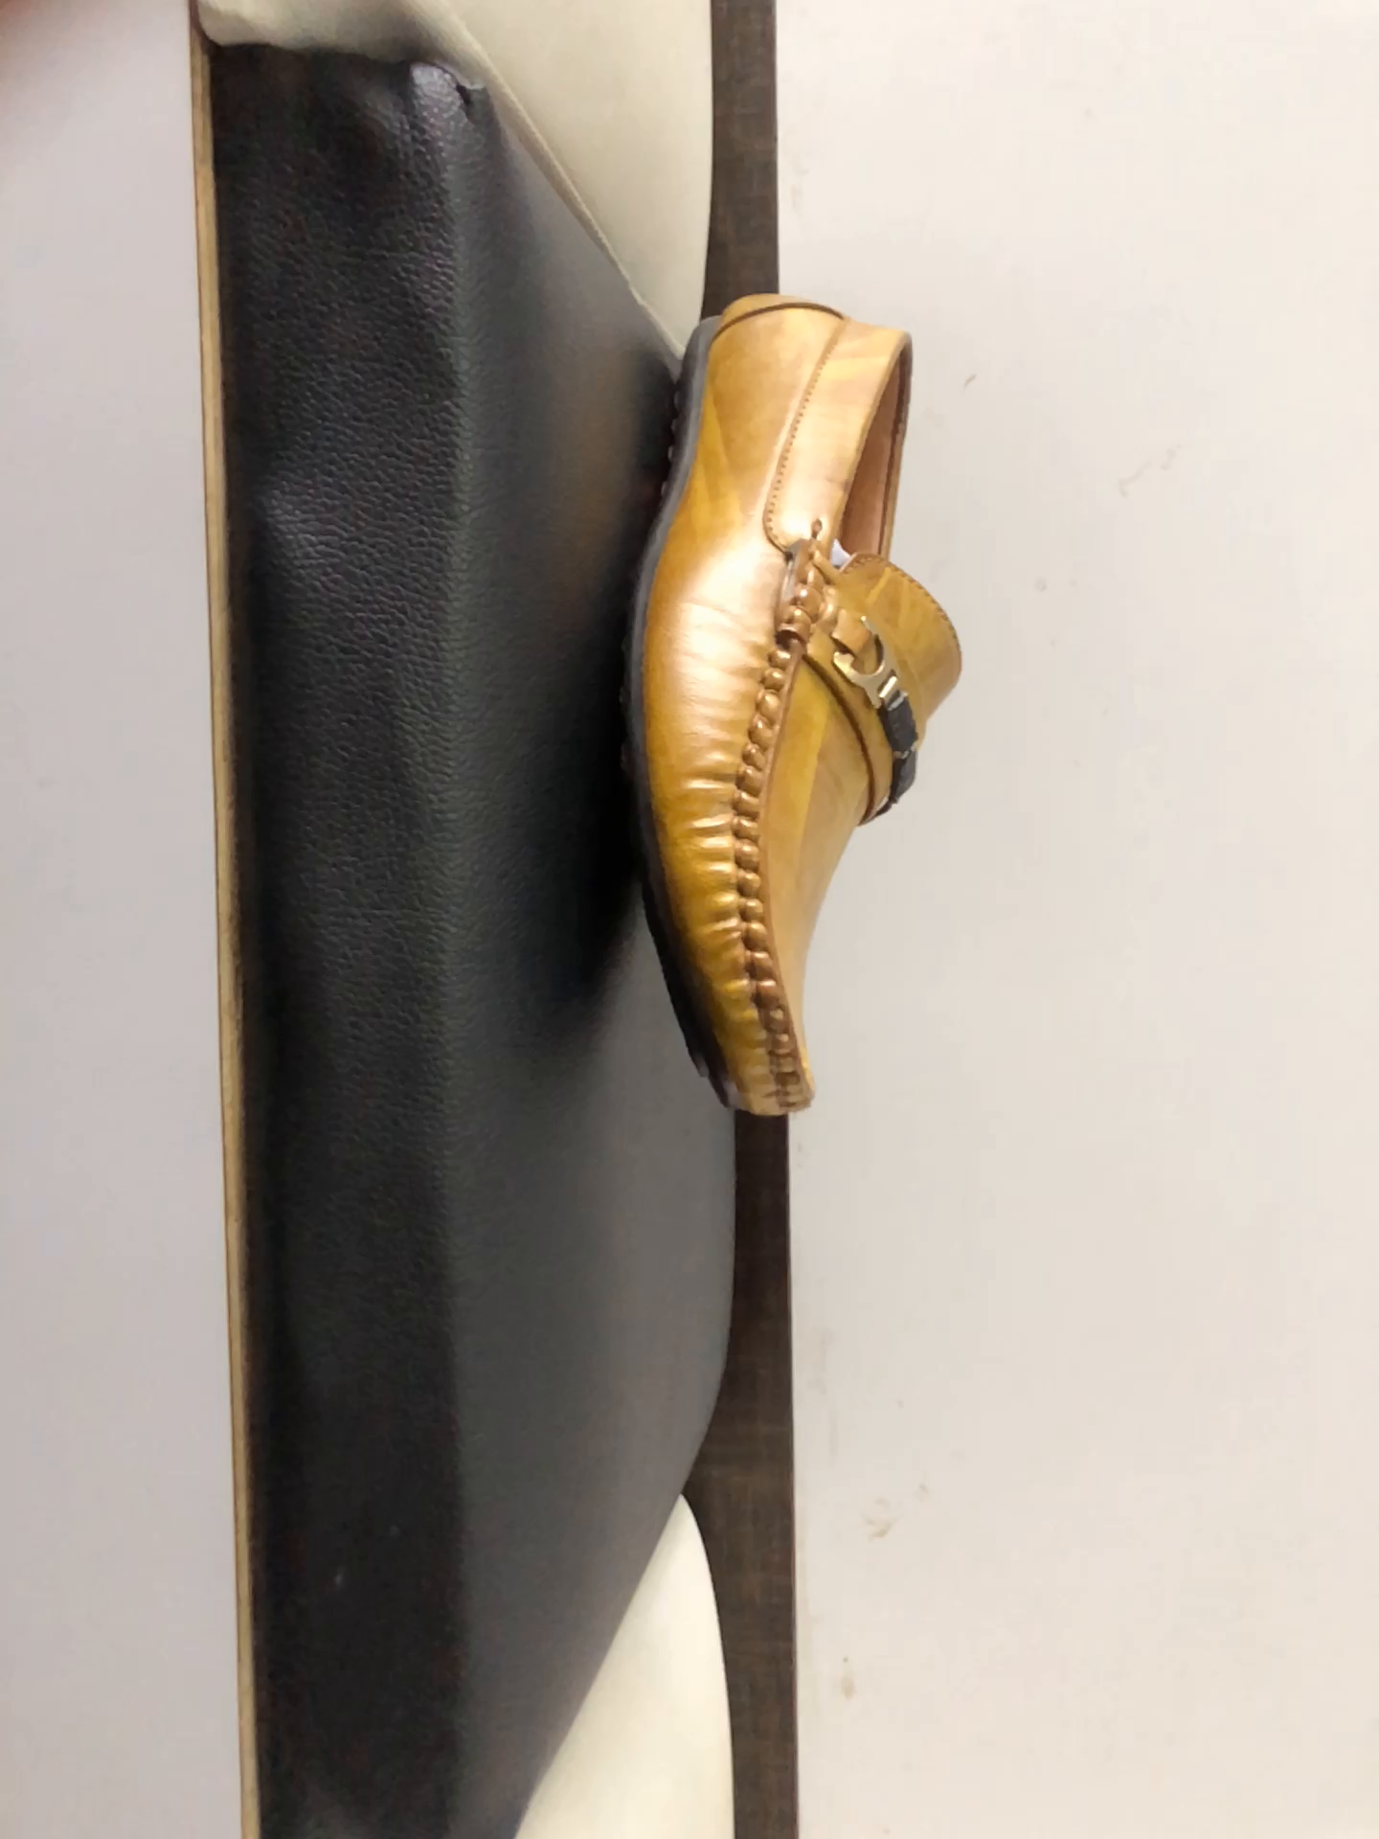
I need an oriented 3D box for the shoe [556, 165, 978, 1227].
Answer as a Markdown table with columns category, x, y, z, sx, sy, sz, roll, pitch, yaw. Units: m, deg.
| category | x | y | z | sx | sy | sz | roll | pitch | yaw |
| --- | --- | --- | --- | --- | --- | --- | --- | --- | --- |
| shoe | 0.041 | -0.067 | 0.464 | 0.171 | 0.090 | 0.270 | 74 | 18 | -56 |
